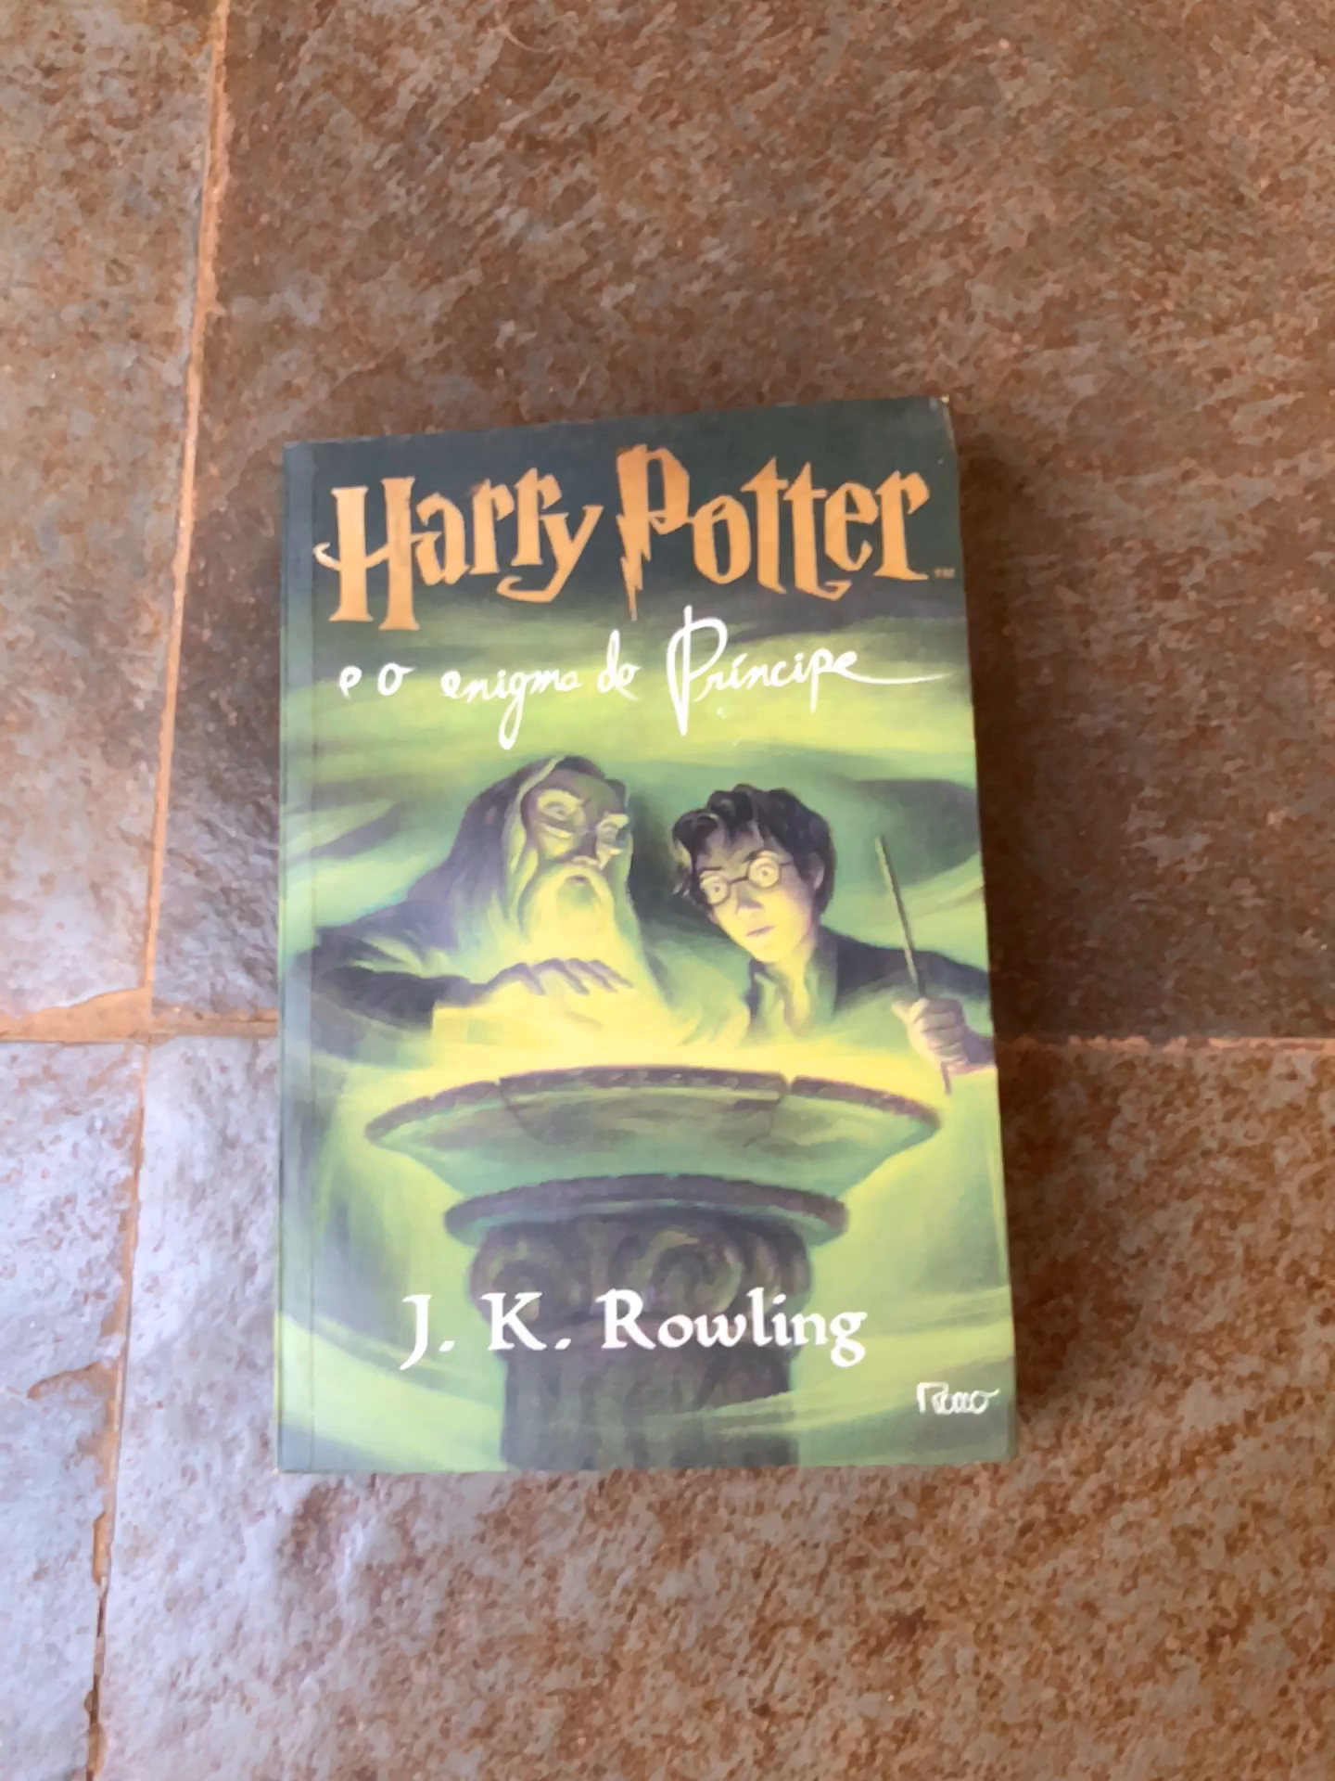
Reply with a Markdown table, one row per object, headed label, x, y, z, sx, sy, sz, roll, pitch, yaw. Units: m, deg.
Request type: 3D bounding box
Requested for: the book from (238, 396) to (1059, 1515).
| label | x | y | z | sx | sy | sz | roll | pitch | yaw |
| --- | --- | --- | --- | --- | --- | --- | --- | --- | --- |
| book | -0.006 | 0.010 | 0.286 | 0.142 | 0.030 | 0.200 | -2 | 82 | 3 |
